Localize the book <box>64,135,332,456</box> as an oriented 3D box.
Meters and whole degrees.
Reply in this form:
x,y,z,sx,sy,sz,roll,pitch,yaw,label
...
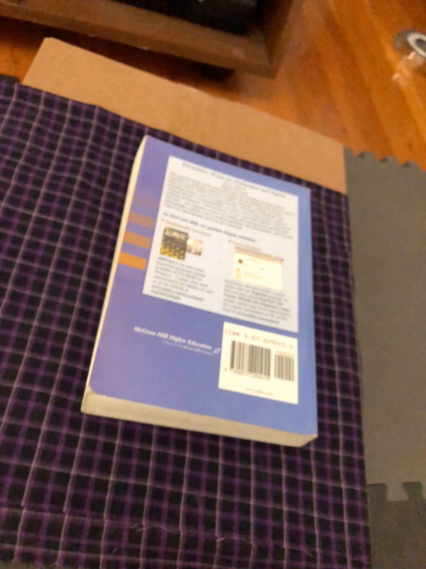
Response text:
x,y,z,sx,sy,sz,roll,pitch,yaw,label
-0.002,0.000,0.391,0.180,0.040,0.241,13,57,-14,book
